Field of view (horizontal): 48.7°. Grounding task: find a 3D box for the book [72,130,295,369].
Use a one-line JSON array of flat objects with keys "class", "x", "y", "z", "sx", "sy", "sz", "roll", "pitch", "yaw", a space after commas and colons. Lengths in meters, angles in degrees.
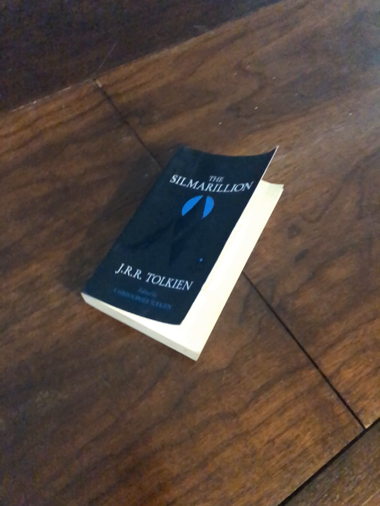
[{"class": "book", "x": 0.001, "y": -0.011, "z": 0.370, "sx": 0.119, "sy": 0.040, "sz": 0.180, "roll": 25, "pitch": 66, "yaw": 8}]
